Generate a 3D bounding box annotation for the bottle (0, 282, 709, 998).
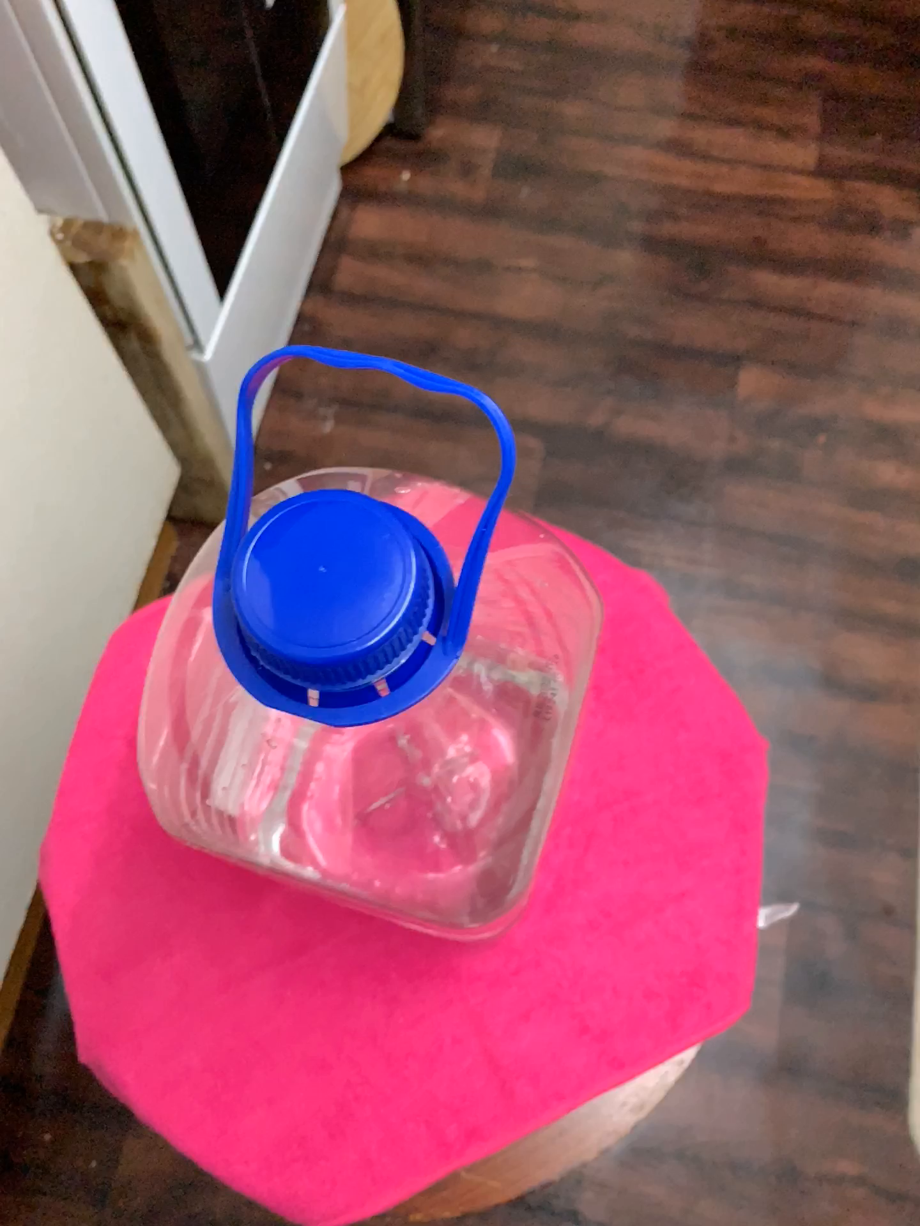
[{"bbox_3d":[-0.023,0.051,0.387,0.140,0.329,0.151,0,70,0],"label":"bottle"}]
